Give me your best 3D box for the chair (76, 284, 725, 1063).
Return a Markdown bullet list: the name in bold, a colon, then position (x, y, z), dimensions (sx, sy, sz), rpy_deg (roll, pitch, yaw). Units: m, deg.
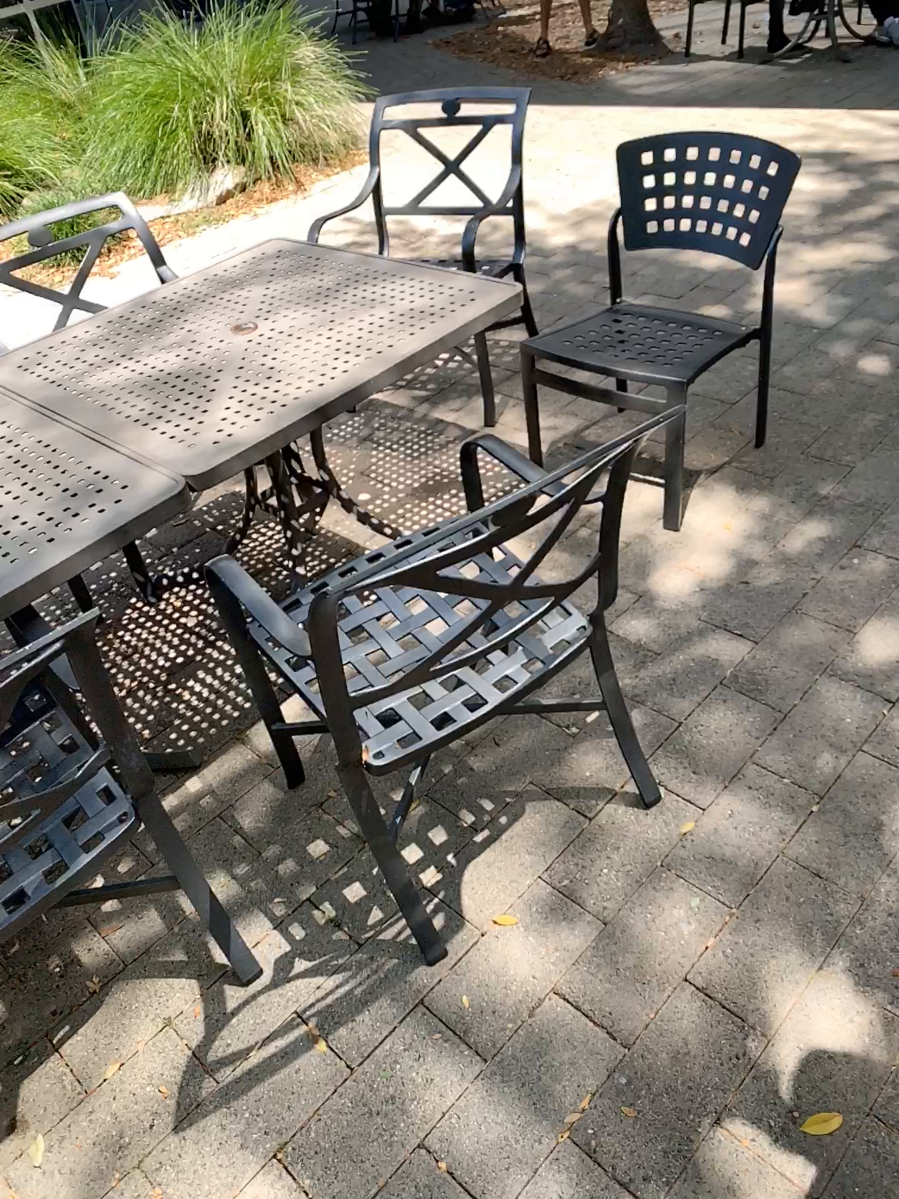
- **chair**: position (-0.043, 0.097, 1.480), dimensions (0.630, 0.884, 0.613), rpy_deg (-28, 42, -22)
